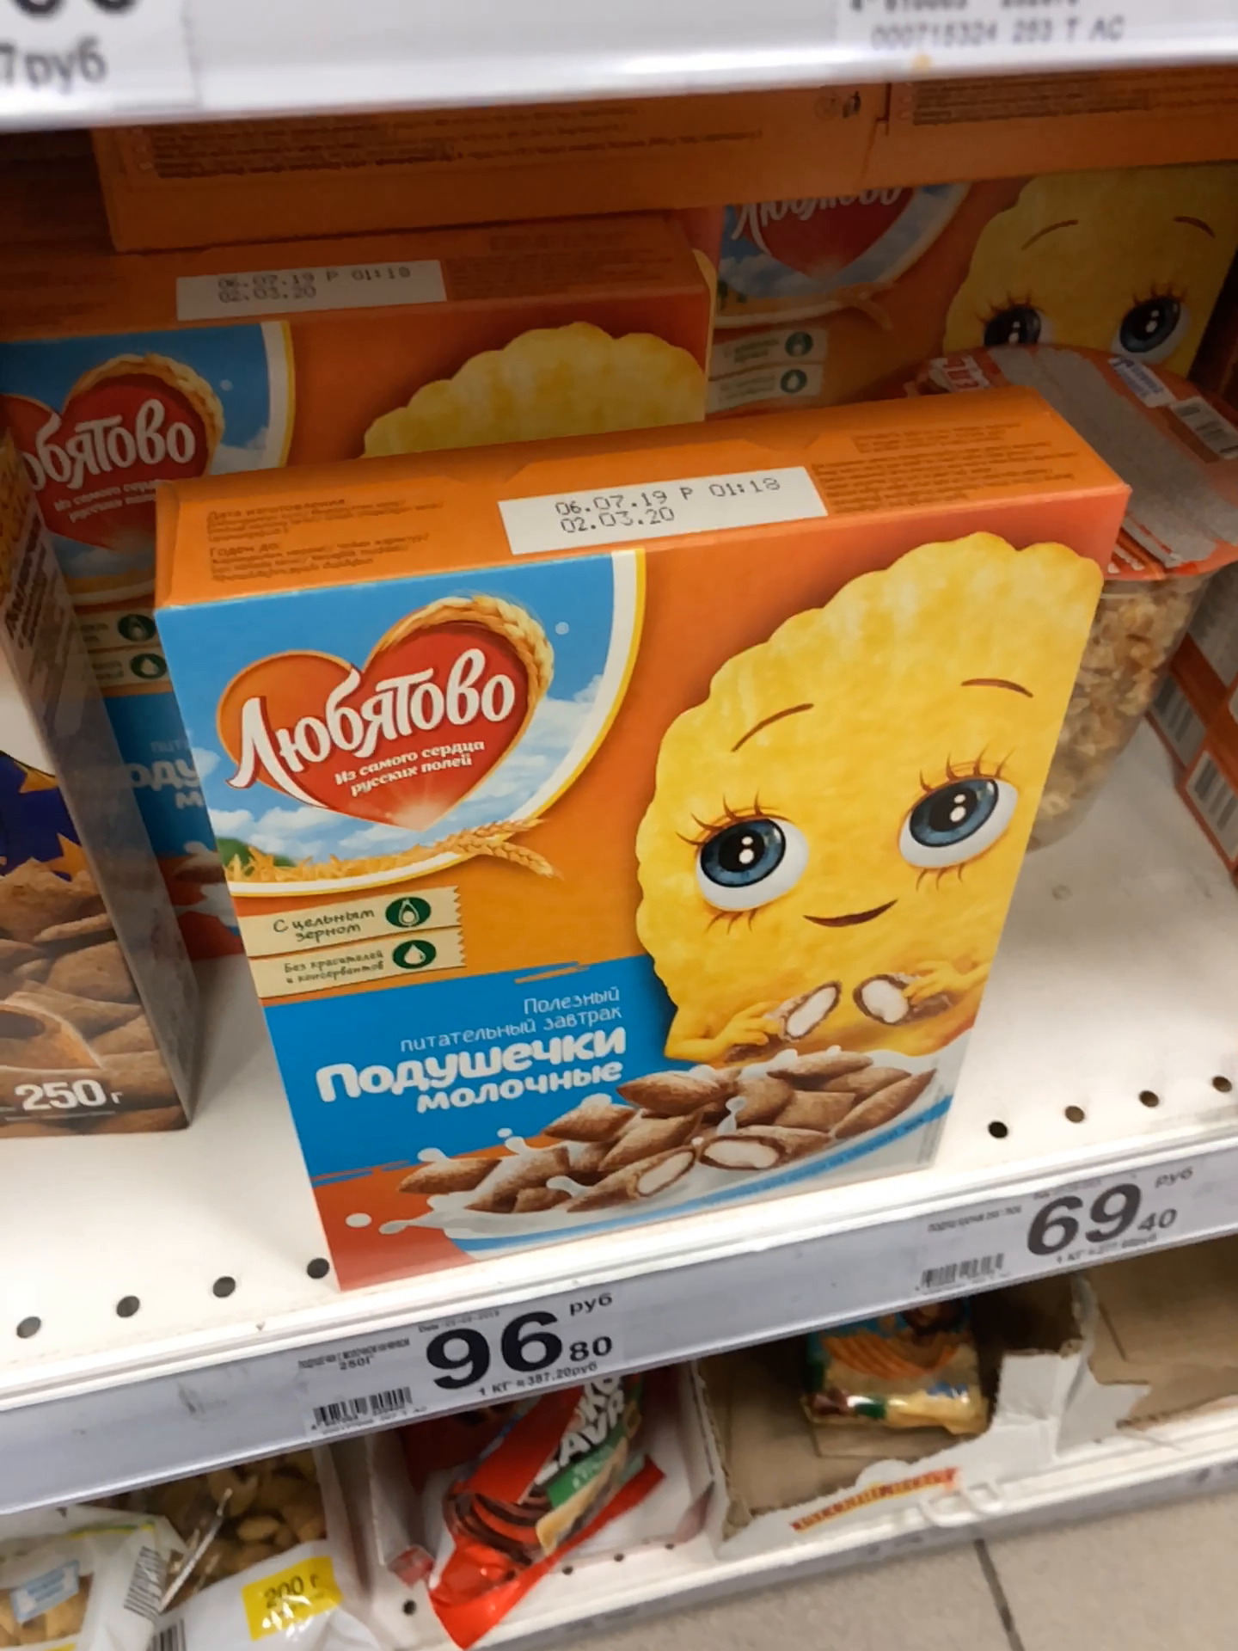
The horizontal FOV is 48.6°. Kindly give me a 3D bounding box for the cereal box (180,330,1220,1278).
[{"bbox_3d":[0.012,0.011,0.327,0.180,0.229,0.050,-9,46,-11],"label":"cereal box"}]
